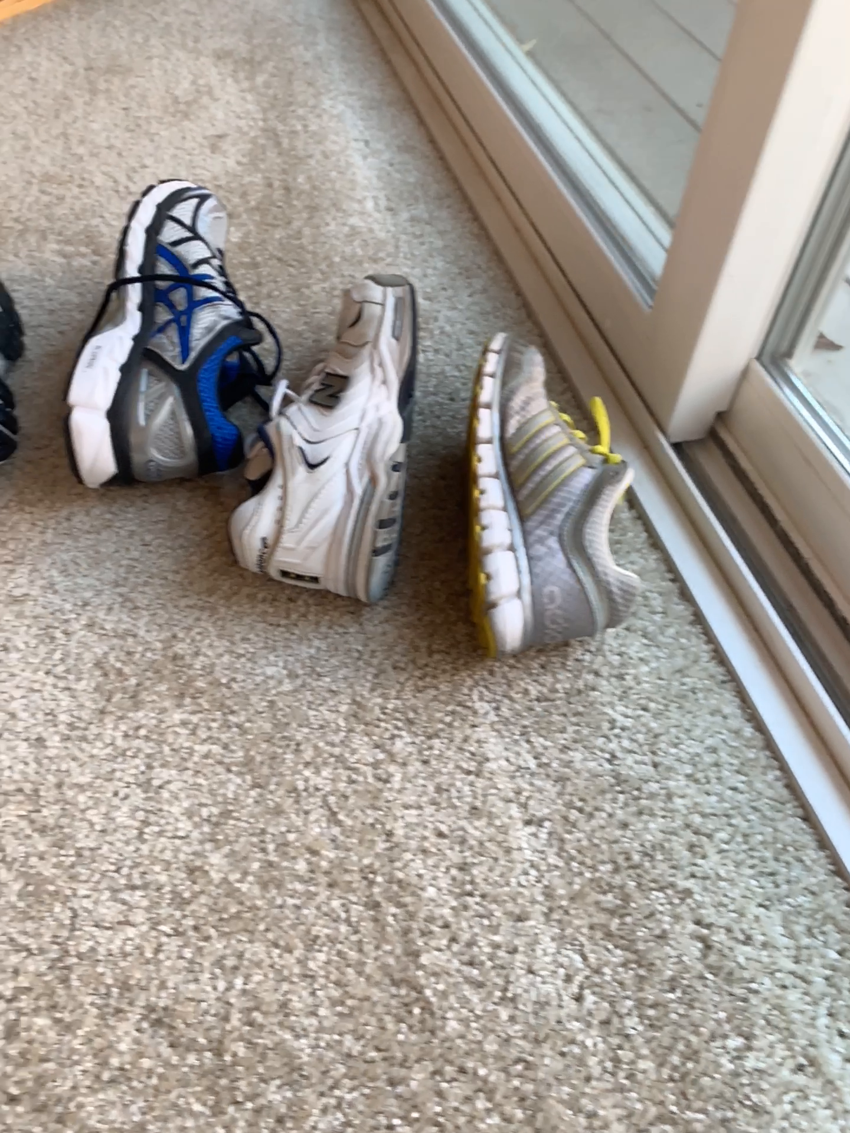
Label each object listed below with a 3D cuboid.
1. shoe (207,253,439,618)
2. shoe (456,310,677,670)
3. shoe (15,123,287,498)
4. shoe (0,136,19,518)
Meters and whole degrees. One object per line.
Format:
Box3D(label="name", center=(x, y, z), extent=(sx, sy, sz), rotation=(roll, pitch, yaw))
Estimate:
Box3D(label="shoe", center=(-0.055, -0.092, 0.546), extent=(0.090, 0.090, 0.231), rotation=(11, 46, -1))
Box3D(label="shoe", center=(0.084, -0.051, 0.593), extent=(0.110, 0.100, 0.221), rotation=(1, 65, -4))
Box3D(label="shoe", center=(-0.174, -0.191, 0.626), extent=(0.120, 0.119, 0.271), rotation=(3, 49, -4))
Box3D(label="shoe", center=(-0.368, -0.179, 0.615), extent=(0.130, 0.070, 0.281), rotation=(-12, 60, -9))
